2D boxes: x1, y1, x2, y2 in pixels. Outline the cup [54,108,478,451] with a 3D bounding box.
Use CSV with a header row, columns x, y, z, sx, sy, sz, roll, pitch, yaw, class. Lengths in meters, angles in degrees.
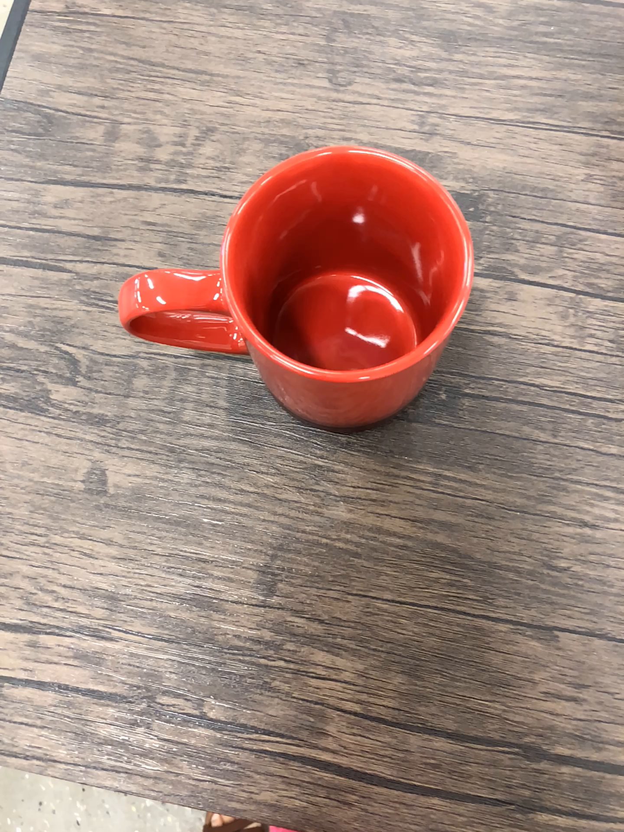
x,y,z,sx,sy,sz,roll,pitch,yaw,class
-0.012,-0.049,0.296,0.140,0.110,0.100,4,77,3,cup
